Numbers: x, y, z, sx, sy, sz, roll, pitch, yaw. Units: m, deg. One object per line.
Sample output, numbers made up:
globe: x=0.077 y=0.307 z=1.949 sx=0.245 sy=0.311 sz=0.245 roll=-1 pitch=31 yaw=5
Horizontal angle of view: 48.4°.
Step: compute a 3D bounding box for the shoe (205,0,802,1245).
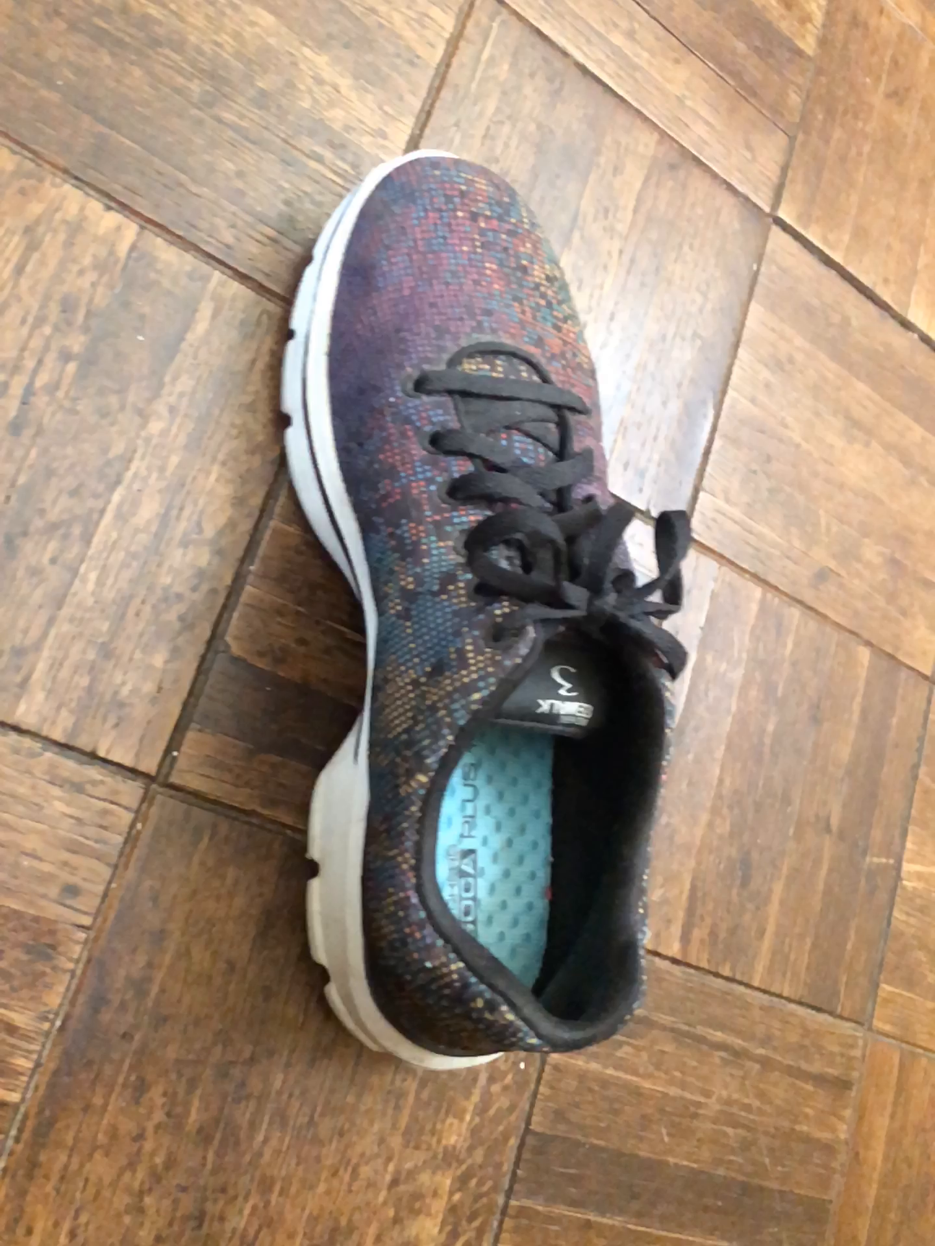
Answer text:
shoe: x=0.005 y=-0.012 z=0.291 sx=0.110 sy=0.120 sz=0.290 roll=5 pitch=82 yaw=-29
